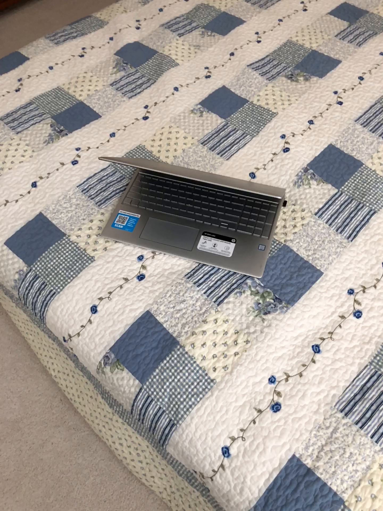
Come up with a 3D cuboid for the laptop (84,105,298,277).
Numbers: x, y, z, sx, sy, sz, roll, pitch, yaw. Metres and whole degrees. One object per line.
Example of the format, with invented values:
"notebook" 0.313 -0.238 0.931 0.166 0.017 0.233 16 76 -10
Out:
"laptop" 0.009 -0.140 0.860 0.348 0.158 0.242 14 57 11
